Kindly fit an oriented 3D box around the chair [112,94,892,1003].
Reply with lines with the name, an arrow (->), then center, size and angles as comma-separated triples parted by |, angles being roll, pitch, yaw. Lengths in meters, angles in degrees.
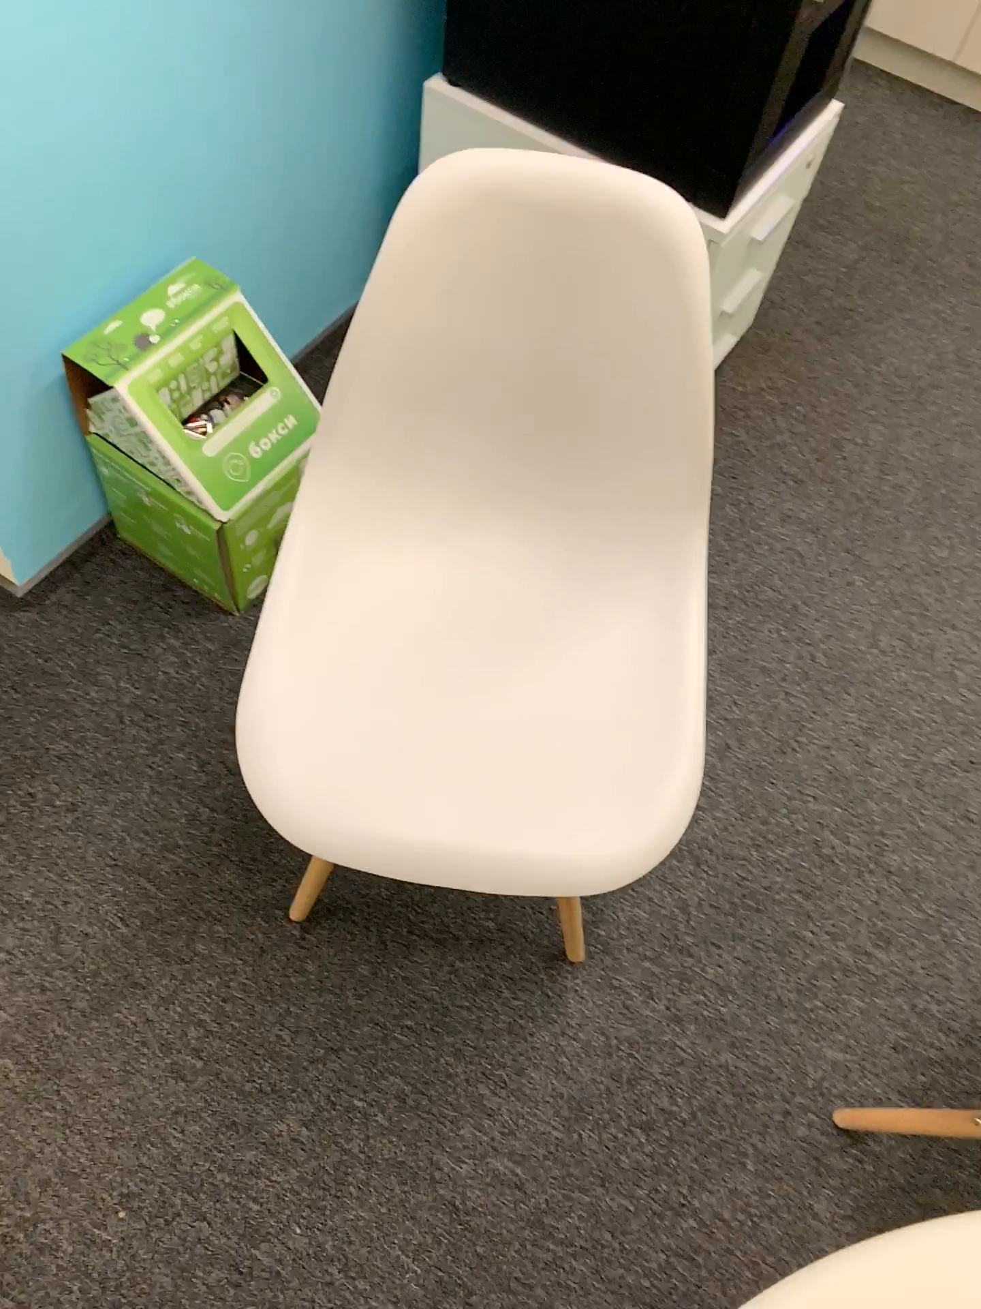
chair -> -0.005, -0.013, 1.061 | 0.460, 0.817, 0.502 | 9, 58, -2
